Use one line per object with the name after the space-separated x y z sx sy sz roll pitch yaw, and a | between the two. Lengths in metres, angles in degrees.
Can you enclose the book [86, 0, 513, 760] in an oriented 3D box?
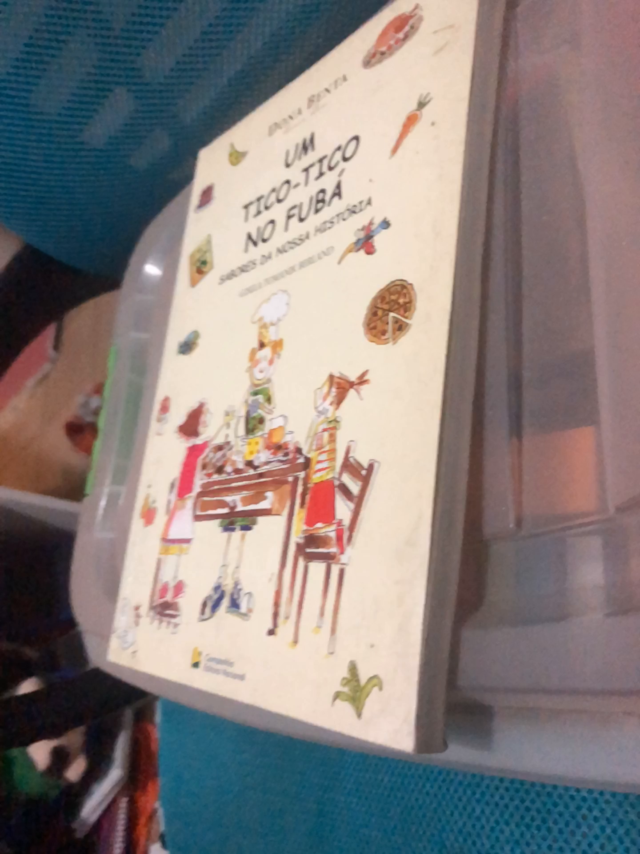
-0.016 -0.027 0.255 0.172 0.020 0.232 -10 68 47 | book
